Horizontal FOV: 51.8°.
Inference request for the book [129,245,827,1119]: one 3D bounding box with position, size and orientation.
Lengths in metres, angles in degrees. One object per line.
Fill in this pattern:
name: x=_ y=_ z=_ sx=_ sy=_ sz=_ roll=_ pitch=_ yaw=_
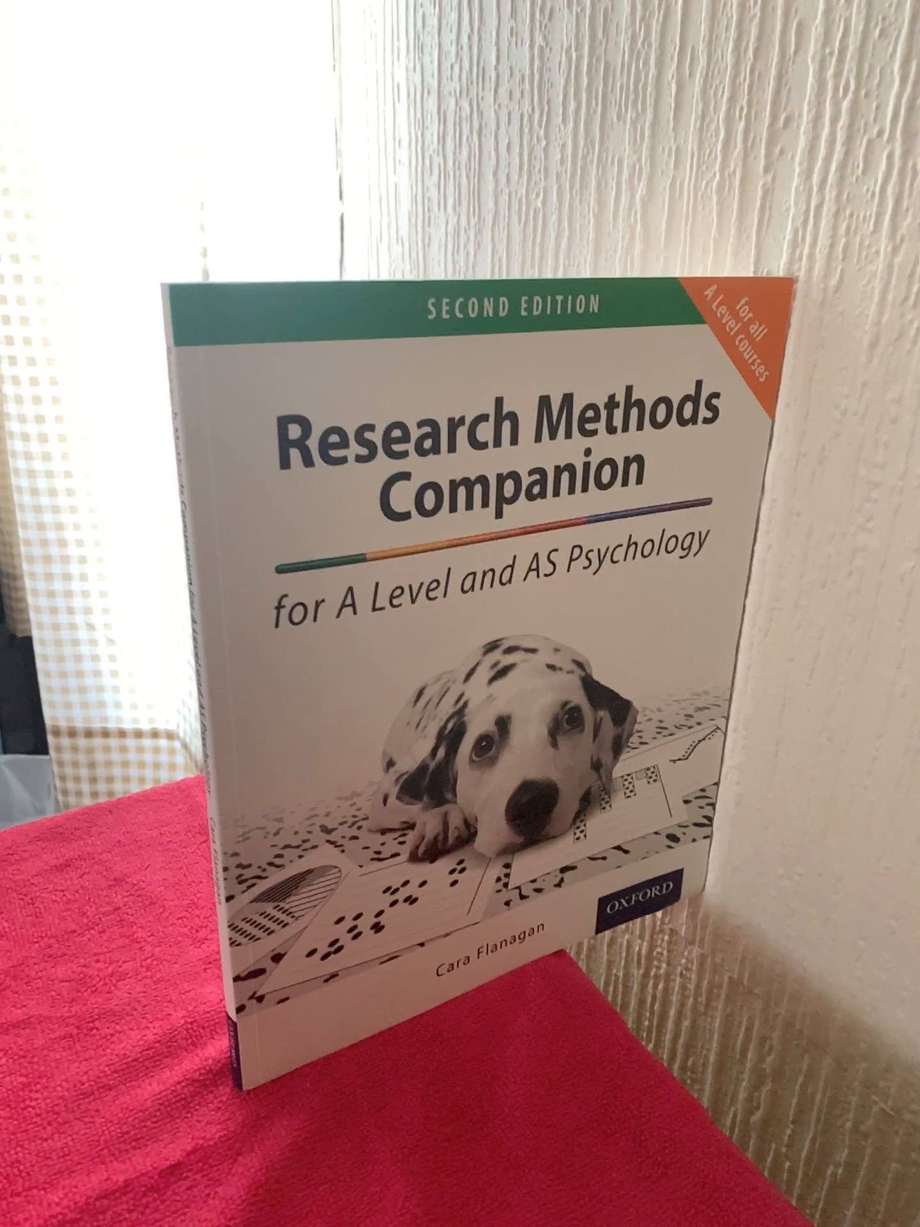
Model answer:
book: x=0.025 y=0.017 z=0.353 sx=0.250 sy=0.288 sz=0.020 roll=-11 pitch=22 yaw=-28
